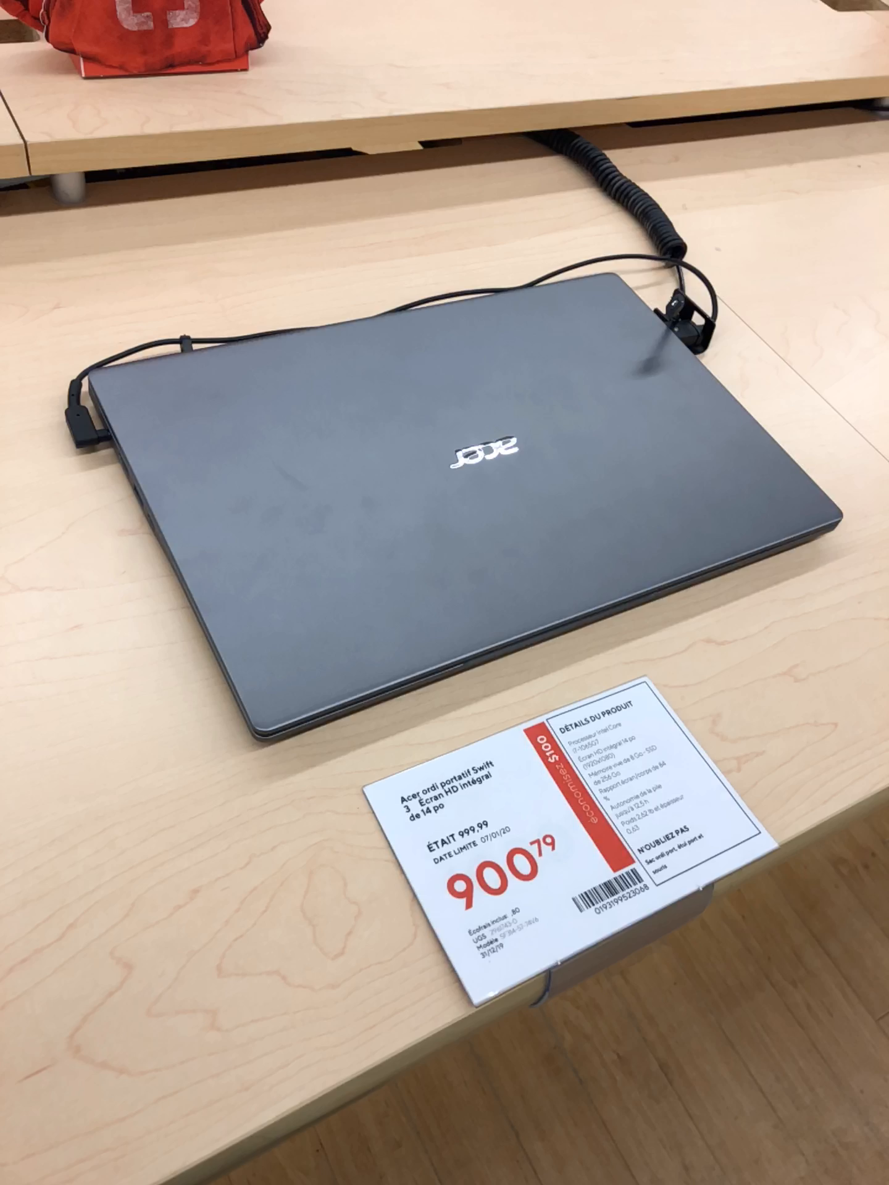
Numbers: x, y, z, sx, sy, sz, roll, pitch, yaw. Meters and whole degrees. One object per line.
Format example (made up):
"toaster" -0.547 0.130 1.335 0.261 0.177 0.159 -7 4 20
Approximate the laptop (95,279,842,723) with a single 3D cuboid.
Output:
"laptop" 0.018 -0.070 0.471 0.307 0.001 0.201 -18 58 -25
